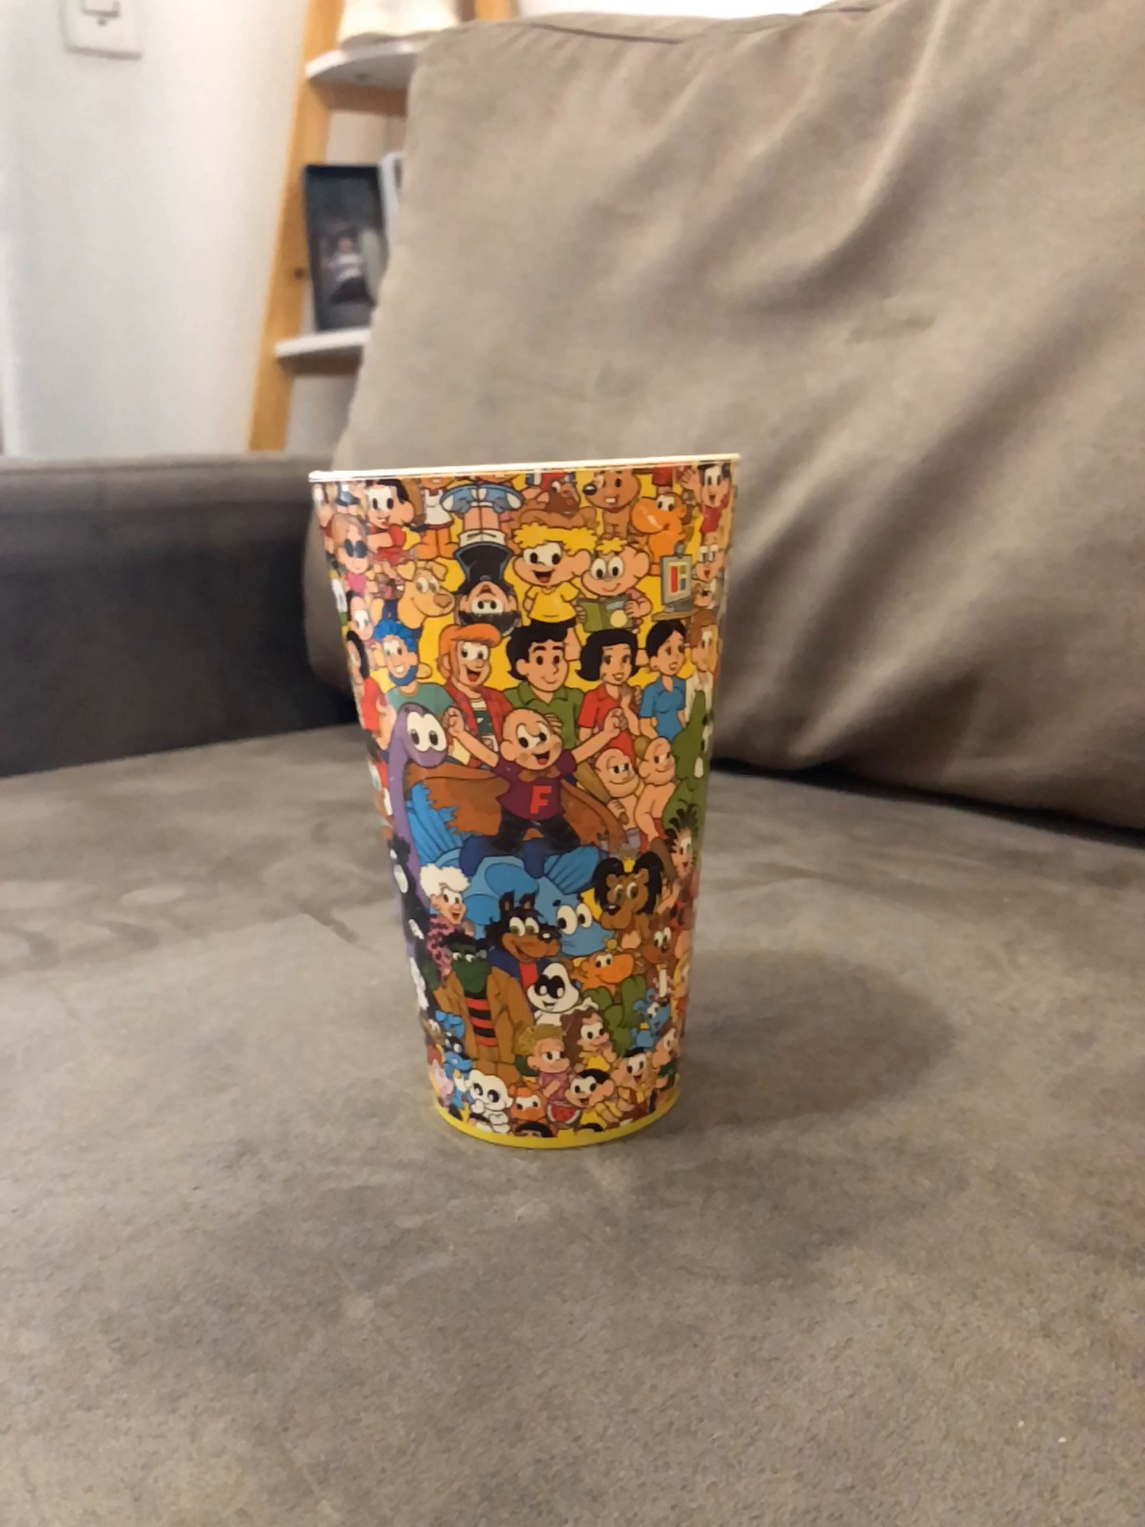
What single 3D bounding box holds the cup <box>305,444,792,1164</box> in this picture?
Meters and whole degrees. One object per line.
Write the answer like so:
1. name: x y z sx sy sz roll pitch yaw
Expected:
1. cup: -0.006 0.001 0.296 0.090 0.140 0.090 -2 11 0
